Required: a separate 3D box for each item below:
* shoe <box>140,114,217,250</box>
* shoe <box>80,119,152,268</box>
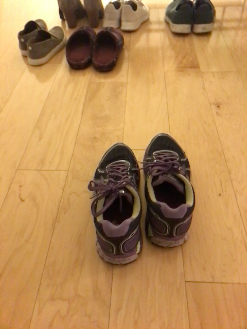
[{"bbox_3d":[0.095,0.018,0.553,0.120,0.079,0.292,0,48,3],"label":"shoe"},{"bbox_3d":[-0.014,0.042,0.540,0.110,0.099,0.292,-3,48,0],"label":"shoe"}]
